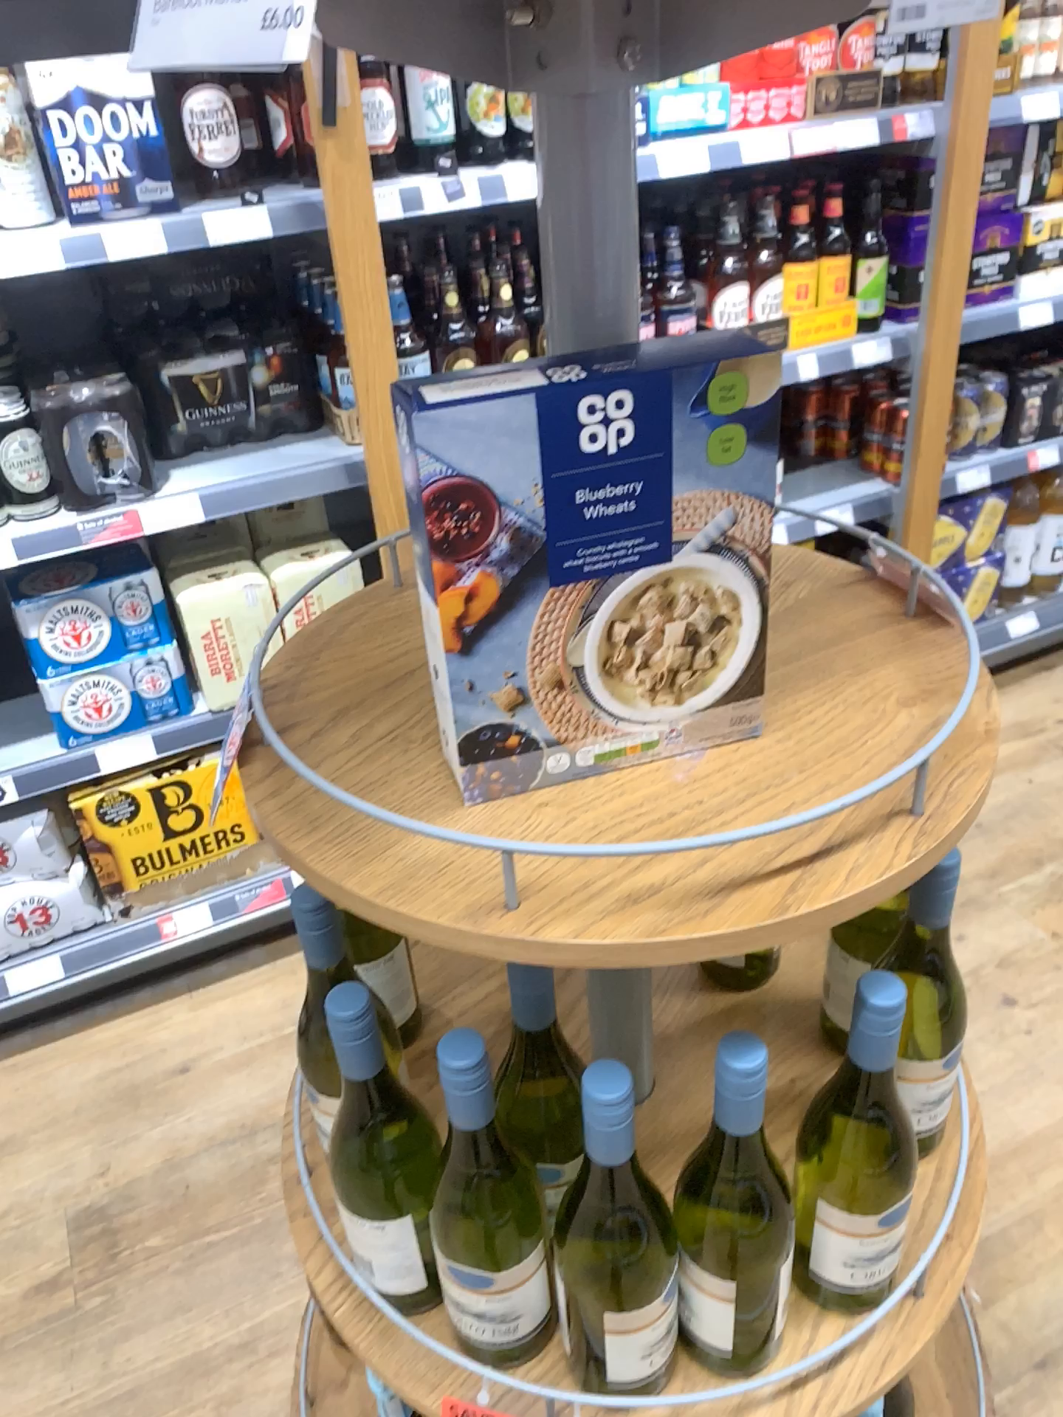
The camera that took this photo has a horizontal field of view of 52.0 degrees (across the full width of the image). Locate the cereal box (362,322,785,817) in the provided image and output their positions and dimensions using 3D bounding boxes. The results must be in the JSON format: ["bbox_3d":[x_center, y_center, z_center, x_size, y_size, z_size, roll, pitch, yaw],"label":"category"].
[{"bbox_3d":[0.028,-0.073,0.597,0.200,0.228,0.061,-13,33,-13],"label":"cereal box"}]
